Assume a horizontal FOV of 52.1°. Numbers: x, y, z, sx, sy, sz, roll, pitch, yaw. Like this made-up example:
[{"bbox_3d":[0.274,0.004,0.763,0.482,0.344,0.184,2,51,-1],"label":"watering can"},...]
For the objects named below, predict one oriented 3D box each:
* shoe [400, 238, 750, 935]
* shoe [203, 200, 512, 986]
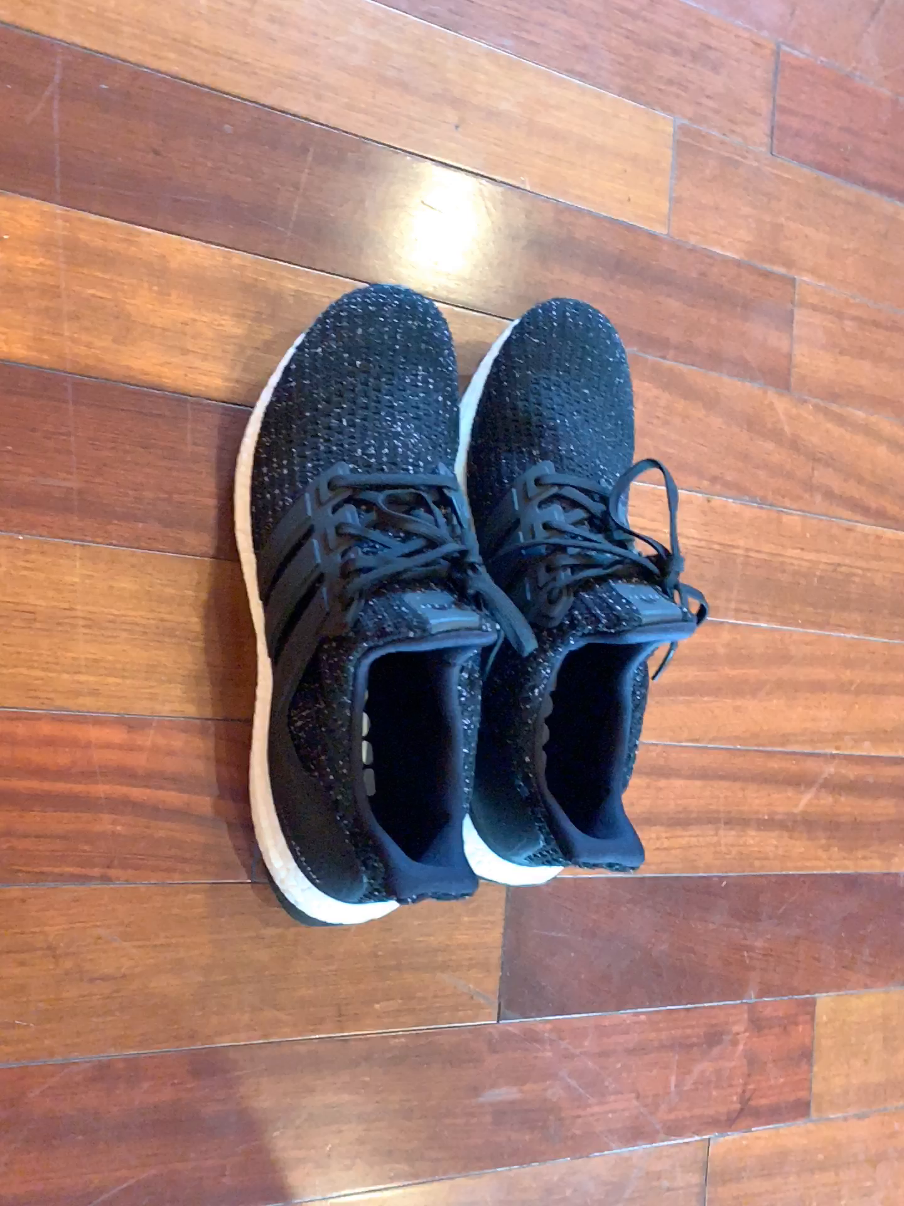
[{"bbox_3d":[0.058,-0.003,0.449,0.110,0.100,0.290,7,85,-23],"label":"shoe"},{"bbox_3d":[-0.046,-0.003,0.421,0.110,0.100,0.300,2,87,-24],"label":"shoe"}]
